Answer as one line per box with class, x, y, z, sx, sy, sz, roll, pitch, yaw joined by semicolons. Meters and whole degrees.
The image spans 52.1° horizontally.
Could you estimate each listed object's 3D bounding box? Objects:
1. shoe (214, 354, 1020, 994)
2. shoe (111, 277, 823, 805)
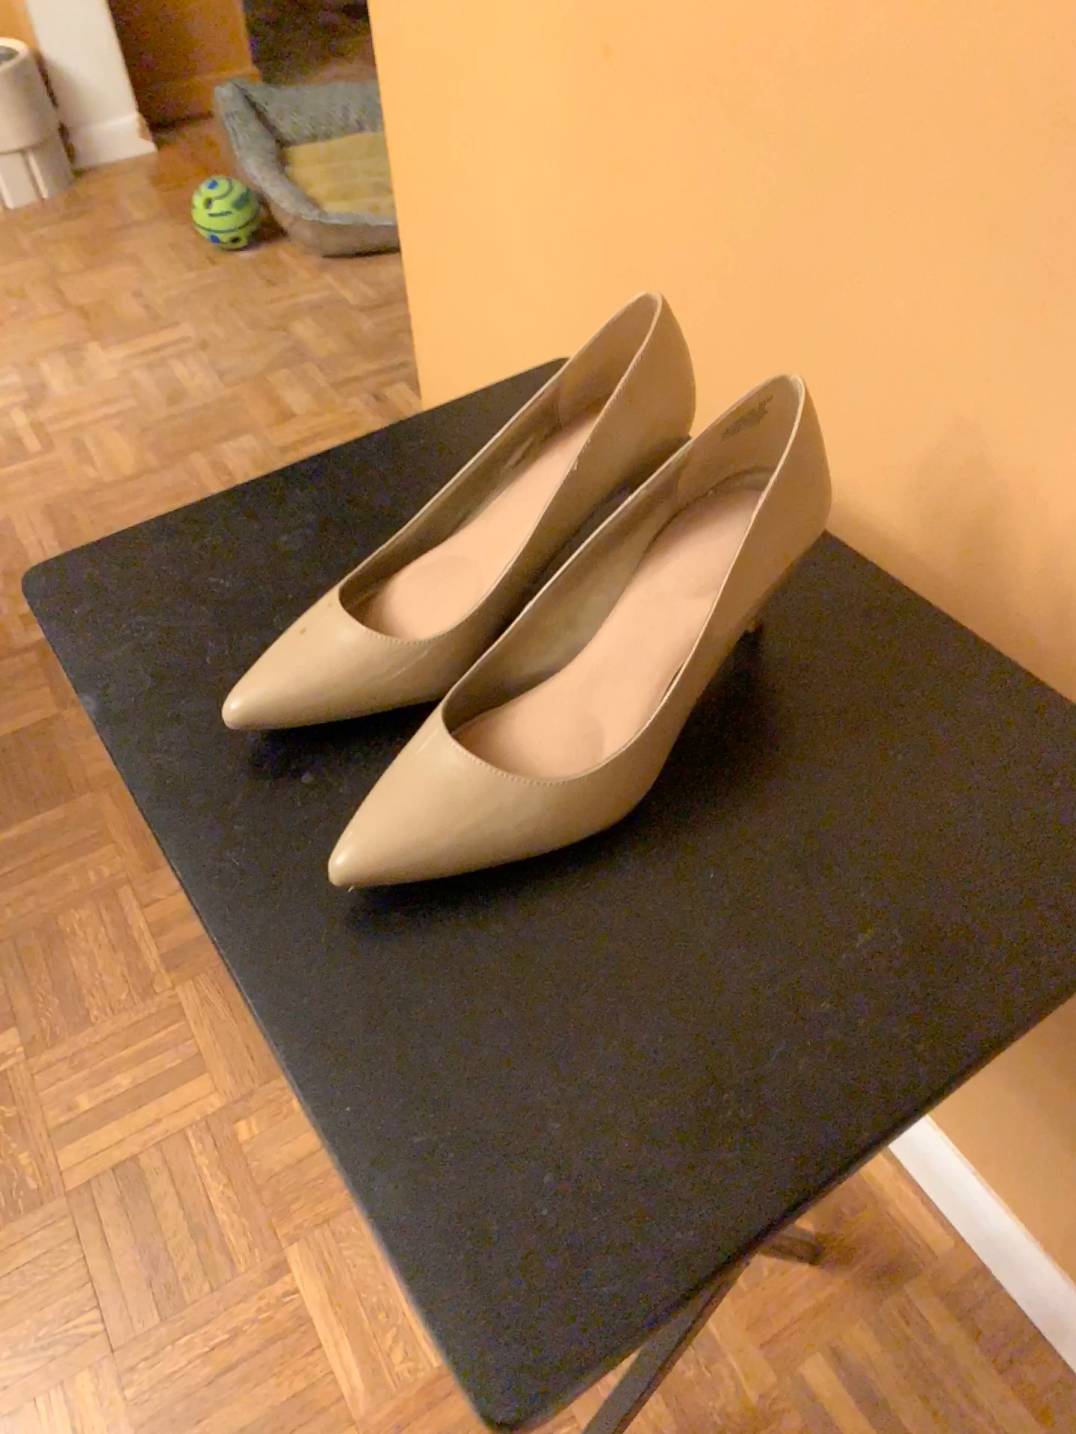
shoe;0.041;-0.032;0.436;0.300;0.090;0.100;-30;53;-23
shoe;-0.019;-0.093;0.502;0.300;0.090;0.100;-30;53;-23
